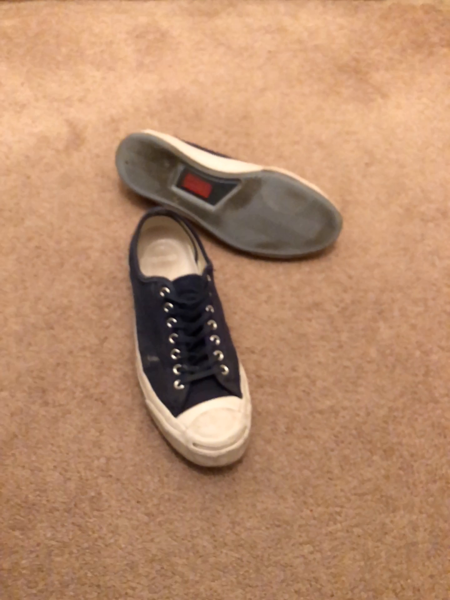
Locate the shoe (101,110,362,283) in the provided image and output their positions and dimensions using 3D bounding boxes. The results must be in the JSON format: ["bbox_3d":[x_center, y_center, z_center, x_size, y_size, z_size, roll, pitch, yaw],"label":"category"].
[{"bbox_3d":[0.007,-0.136,0.632,0.296,0.104,0.099,20,32,8],"label":"shoe"}]

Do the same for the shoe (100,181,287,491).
[{"bbox_3d":[-0.044,0.025,0.516,0.116,0.099,0.287,-11,60,-10],"label":"shoe"}]
